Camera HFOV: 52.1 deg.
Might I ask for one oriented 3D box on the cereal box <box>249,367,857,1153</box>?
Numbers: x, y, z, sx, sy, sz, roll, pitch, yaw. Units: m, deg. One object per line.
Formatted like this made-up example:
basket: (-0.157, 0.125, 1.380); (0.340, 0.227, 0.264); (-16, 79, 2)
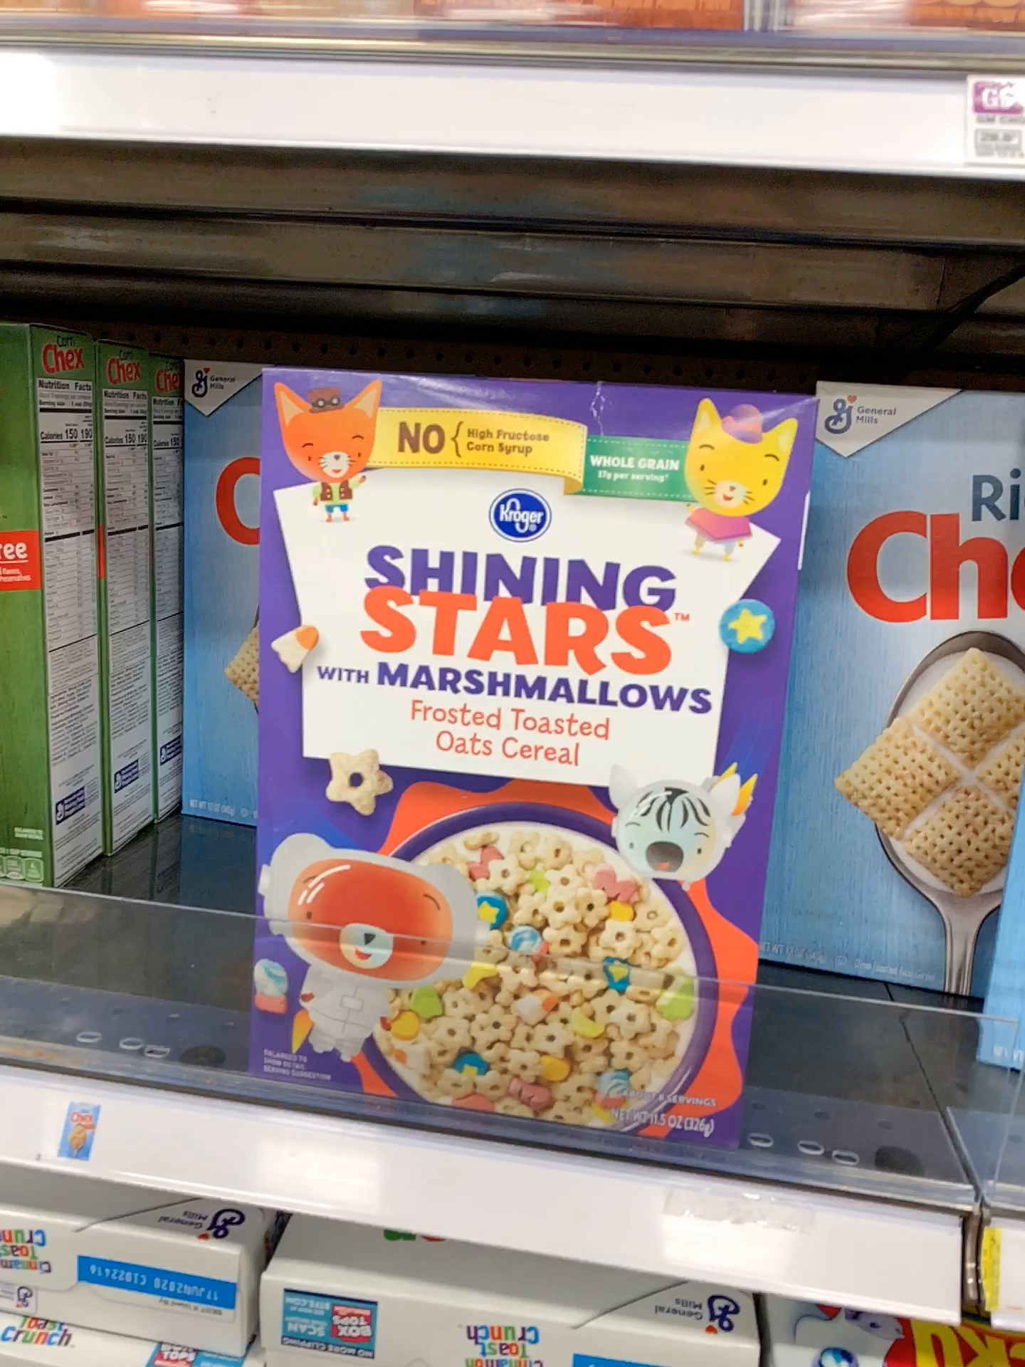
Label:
cereal box: (0.008, 0.027, 0.396); (0.200, 0.269, 0.050); (4, 10, 6)
